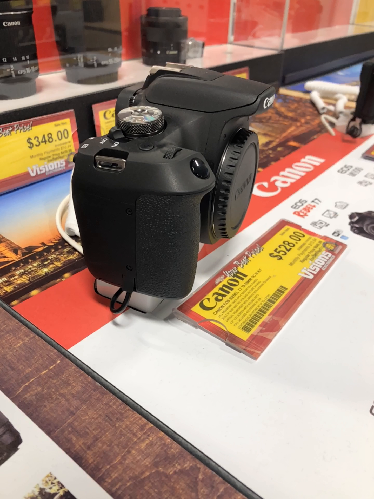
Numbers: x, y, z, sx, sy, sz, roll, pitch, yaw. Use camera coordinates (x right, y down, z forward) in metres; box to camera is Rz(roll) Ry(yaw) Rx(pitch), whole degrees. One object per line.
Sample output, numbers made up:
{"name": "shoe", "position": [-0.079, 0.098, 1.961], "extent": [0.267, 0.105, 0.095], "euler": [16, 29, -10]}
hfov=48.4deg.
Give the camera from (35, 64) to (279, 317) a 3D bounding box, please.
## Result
{"name": "camera", "position": [-0.005, -0.046, 0.242], "extent": [0.080, 0.089, 0.131], "euler": [13, 35, 18]}
